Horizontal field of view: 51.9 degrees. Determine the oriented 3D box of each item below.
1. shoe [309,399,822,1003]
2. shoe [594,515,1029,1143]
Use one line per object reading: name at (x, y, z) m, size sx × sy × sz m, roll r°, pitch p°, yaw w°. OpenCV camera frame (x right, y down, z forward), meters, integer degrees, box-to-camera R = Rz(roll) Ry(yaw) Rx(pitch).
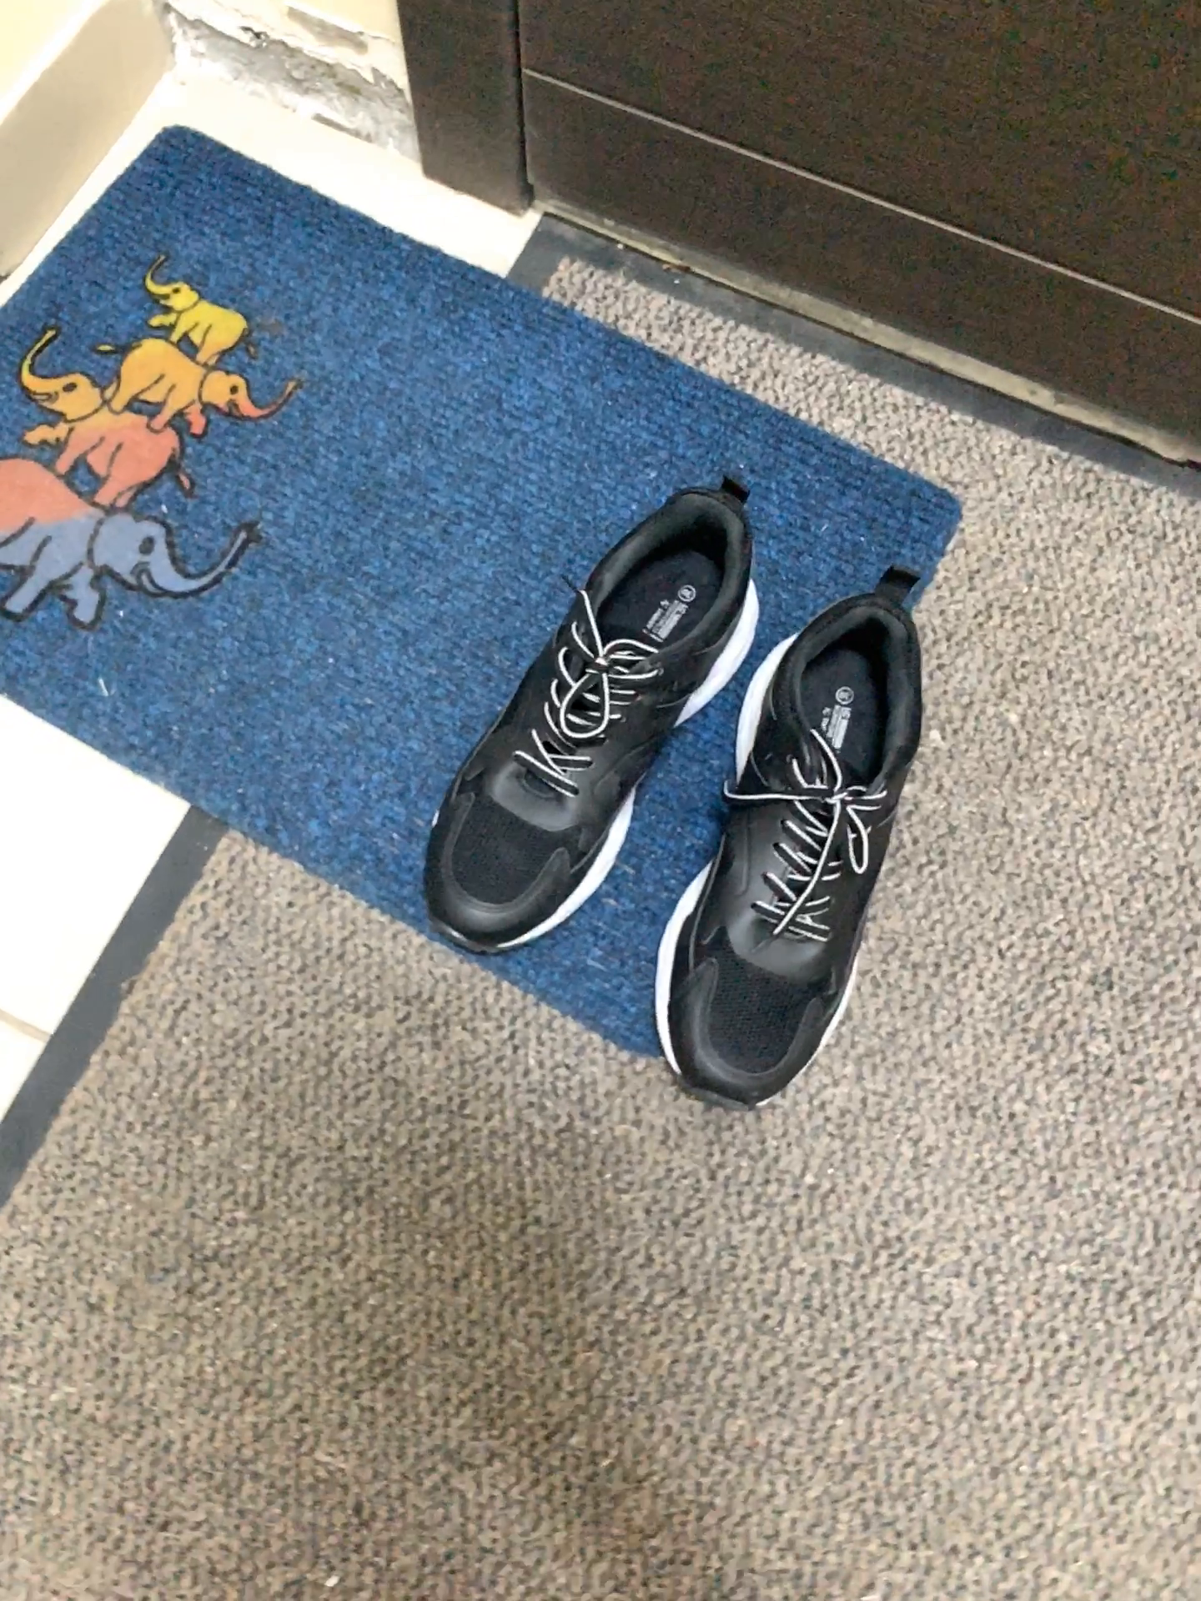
shoe at (-0.010, -0.049, 0.605) m, size 0.110 × 0.100 × 0.260 m, roll 31°, pitch 73°, yaw 10°
shoe at (0.098, 0.013, 0.589) m, size 0.110 × 0.100 × 0.260 m, roll 22°, pitch 72°, yaw 7°
